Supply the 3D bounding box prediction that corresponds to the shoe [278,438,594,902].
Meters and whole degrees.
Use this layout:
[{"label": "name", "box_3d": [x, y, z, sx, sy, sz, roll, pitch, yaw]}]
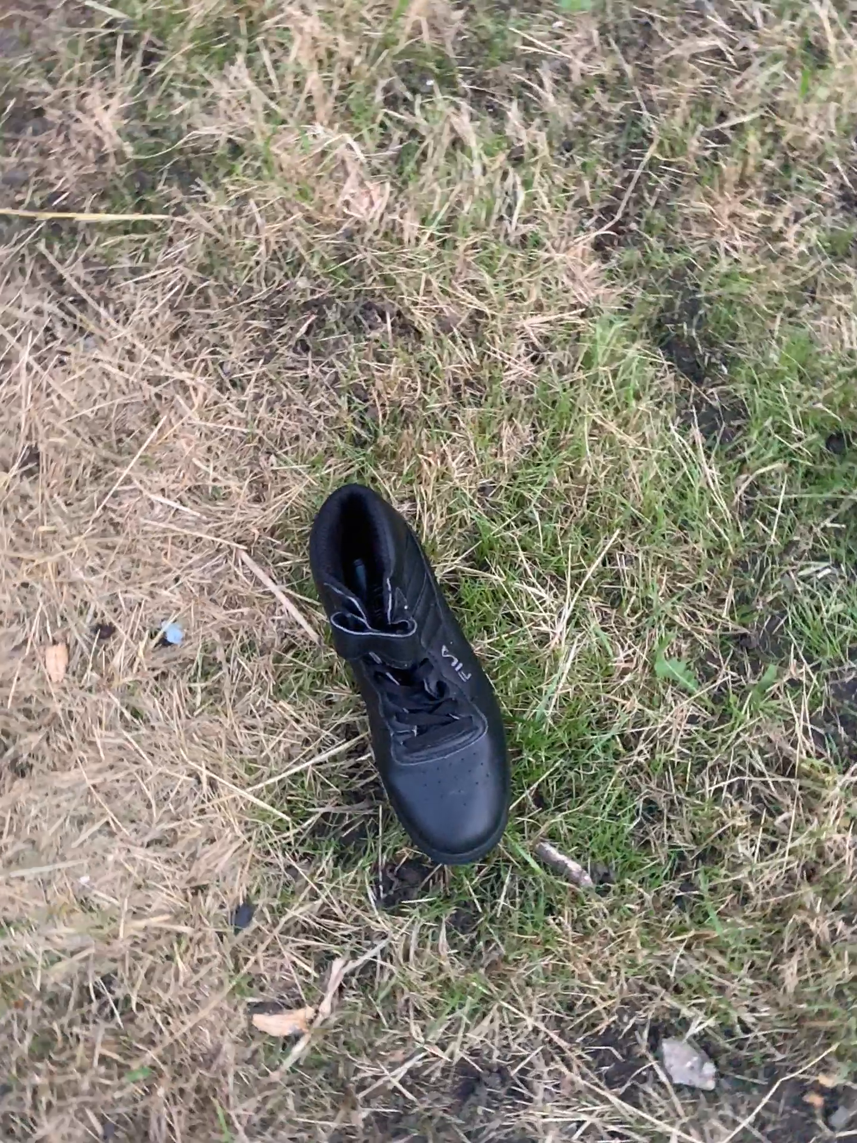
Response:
[{"label": "shoe", "box_3d": [-0.005, 0.068, 0.584, 0.100, 0.140, 0.261, -19, 75, -10]}]
